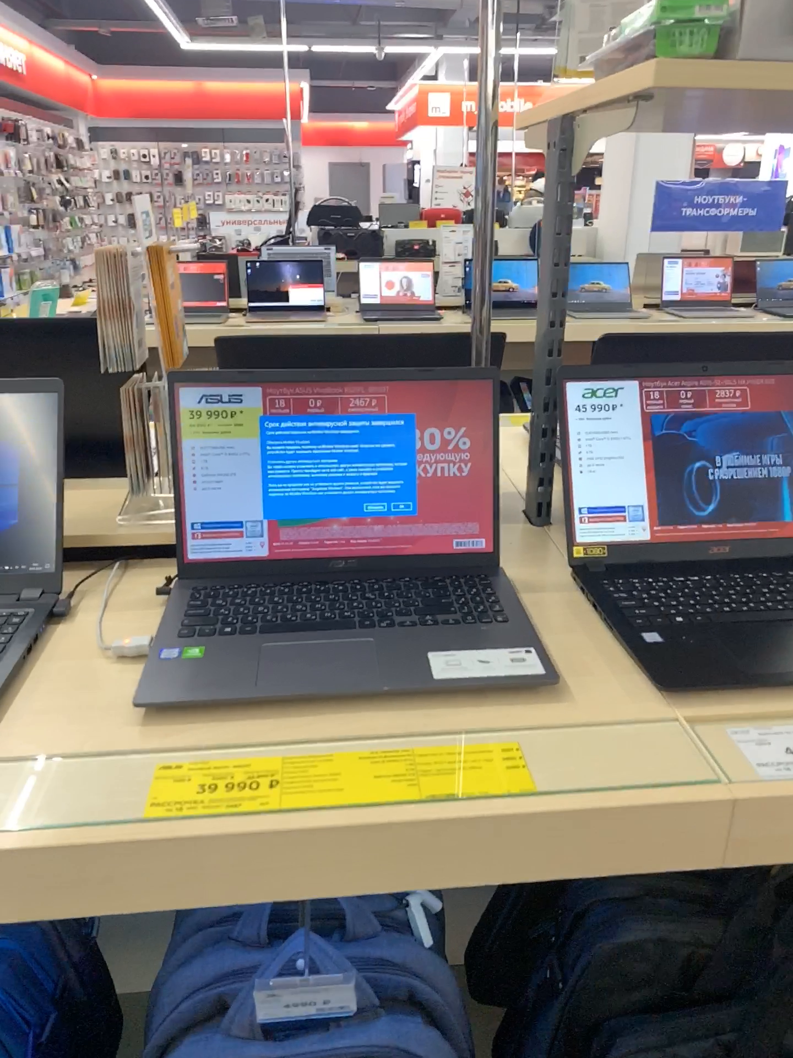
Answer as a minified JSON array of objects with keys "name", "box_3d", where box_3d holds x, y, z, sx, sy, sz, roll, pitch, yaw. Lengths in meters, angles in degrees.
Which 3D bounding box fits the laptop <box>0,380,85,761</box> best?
[{"name":"laptop","box_3d":[-0.534,0.003,0.749,0.349,0.214,0.363,-1,21,-6]}]

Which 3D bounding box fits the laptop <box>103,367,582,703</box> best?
[{"name":"laptop","box_3d":[-0.051,-0.019,0.794,0.366,0.217,0.299,-2,22,-5]}]
